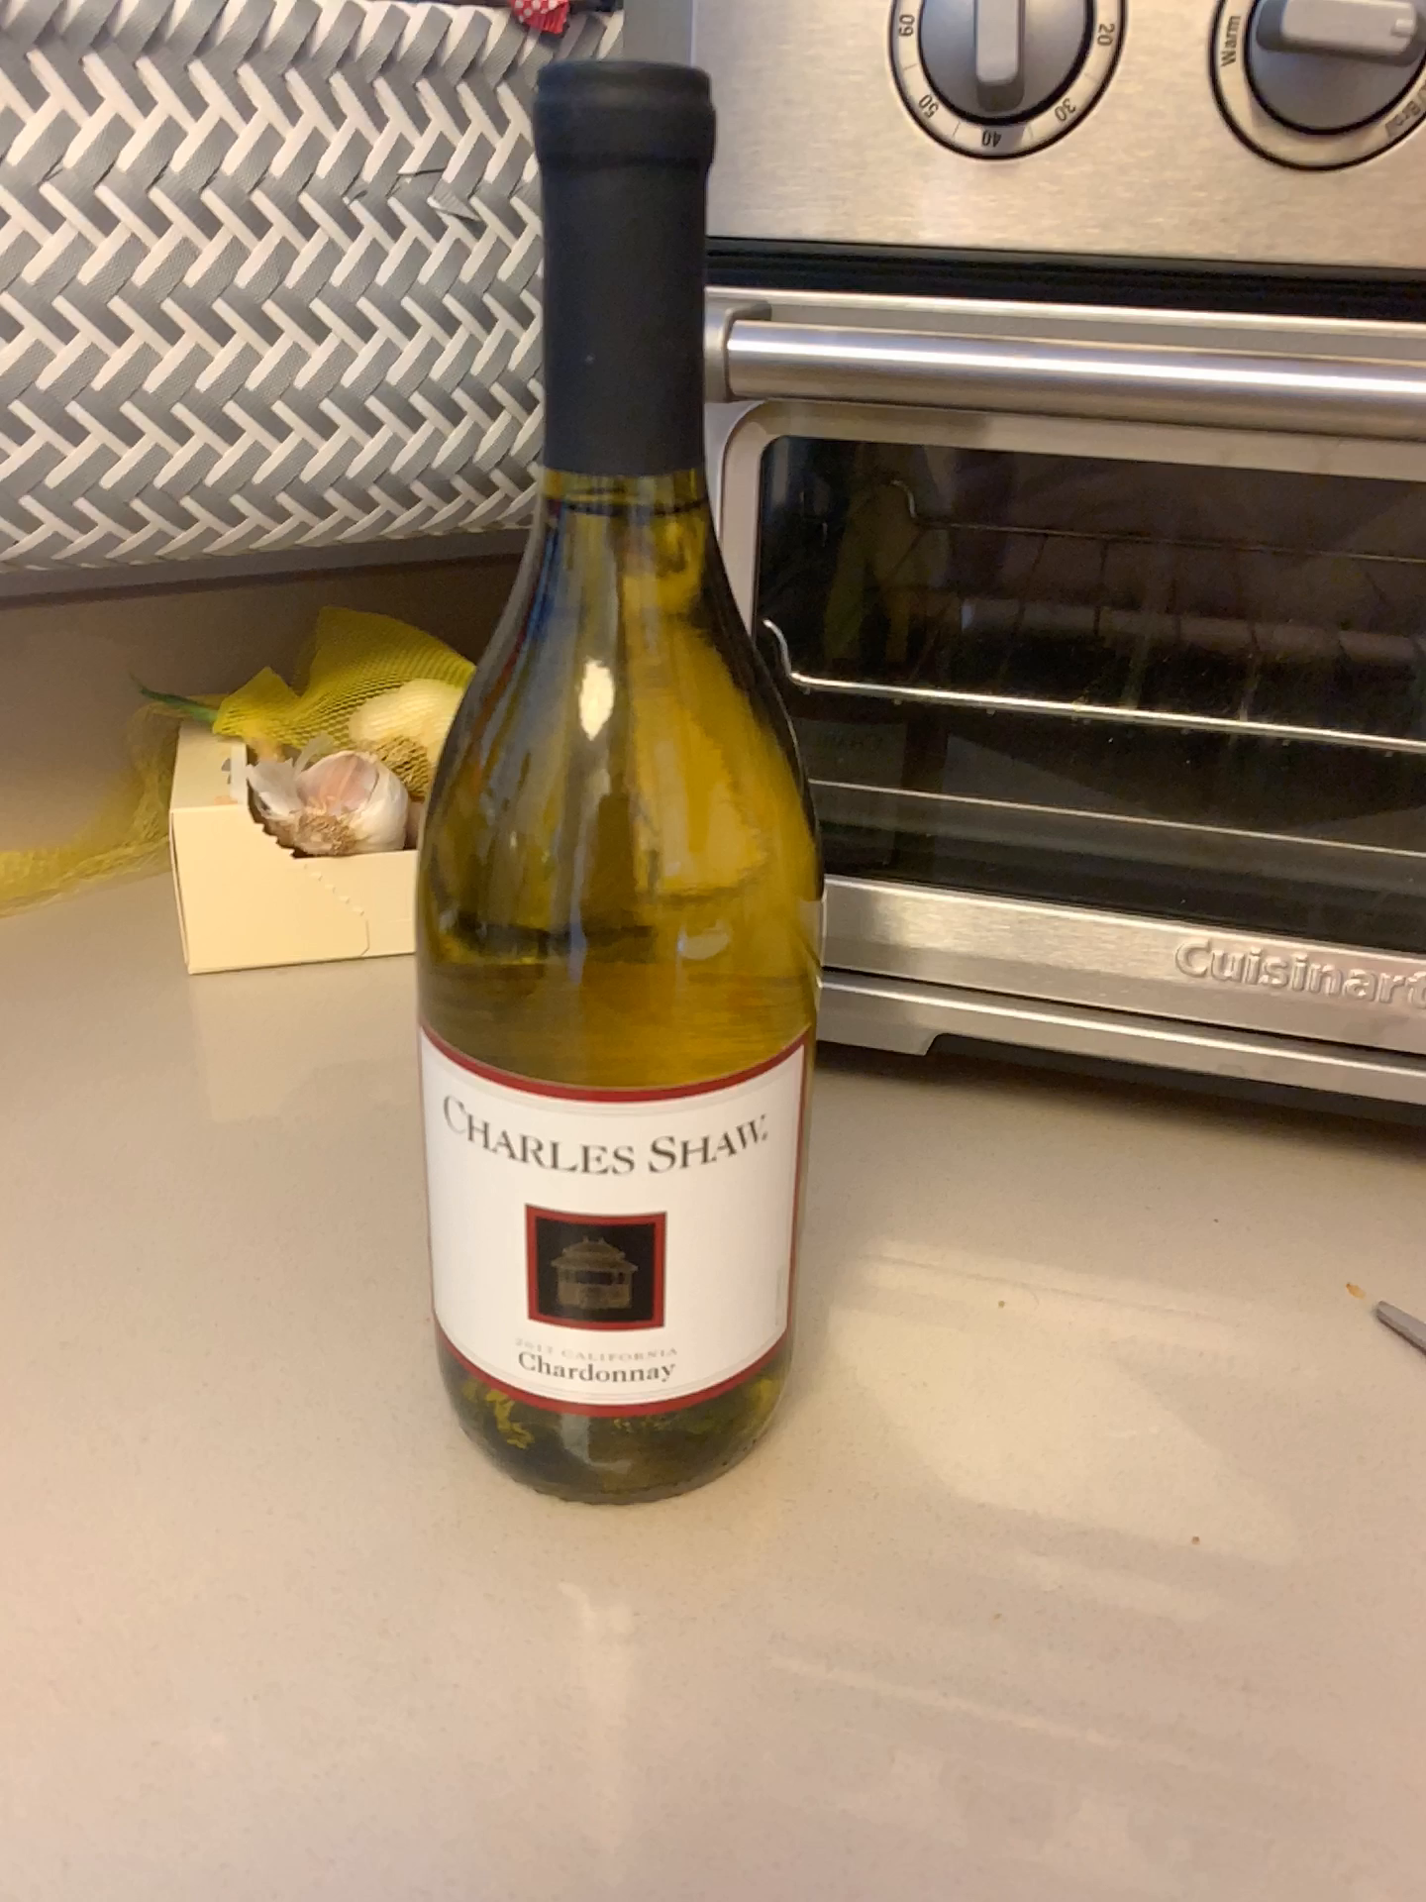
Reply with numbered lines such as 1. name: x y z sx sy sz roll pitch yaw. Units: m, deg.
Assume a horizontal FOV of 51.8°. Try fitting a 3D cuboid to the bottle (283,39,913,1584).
1. bottle: -0.017 -0.012 0.279 0.080 0.268 0.070 6 26 9
